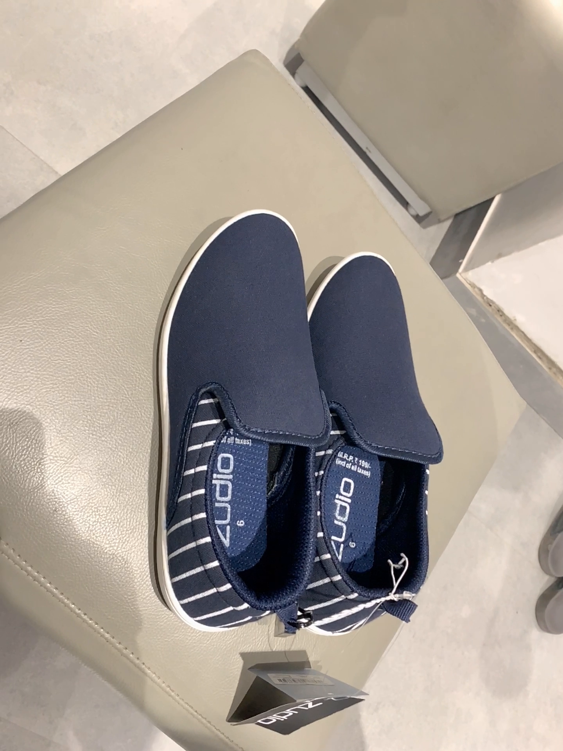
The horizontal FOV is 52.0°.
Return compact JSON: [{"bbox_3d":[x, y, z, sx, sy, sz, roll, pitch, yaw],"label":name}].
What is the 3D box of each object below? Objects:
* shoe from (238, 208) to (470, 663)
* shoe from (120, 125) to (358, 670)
[{"bbox_3d":[0.053,0.040,0.401,0.100,0.090,0.270,14,75,-27],"label":"shoe"},{"bbox_3d":[-0.024,0.012,0.356,0.100,0.090,0.280,9,78,-28],"label":"shoe"}]
